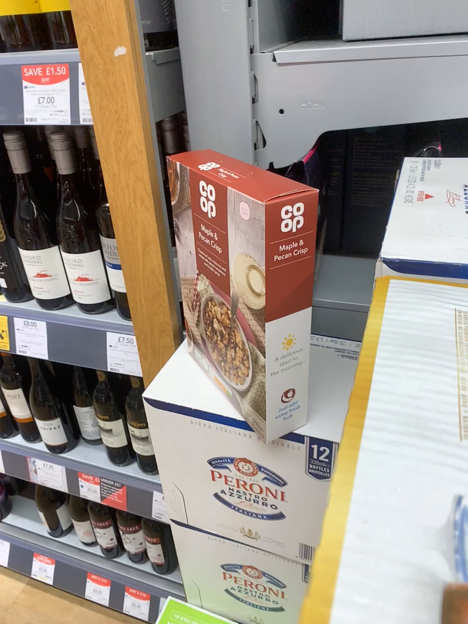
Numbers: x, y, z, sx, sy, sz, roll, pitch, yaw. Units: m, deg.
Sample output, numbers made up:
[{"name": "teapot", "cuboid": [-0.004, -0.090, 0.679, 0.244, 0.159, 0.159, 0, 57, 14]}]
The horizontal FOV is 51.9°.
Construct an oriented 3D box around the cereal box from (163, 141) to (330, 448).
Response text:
[{"name": "cereal box", "cuboid": [0.006, -0.023, 0.482, 0.060, 0.248, 0.181, -18, 34, -25]}]
